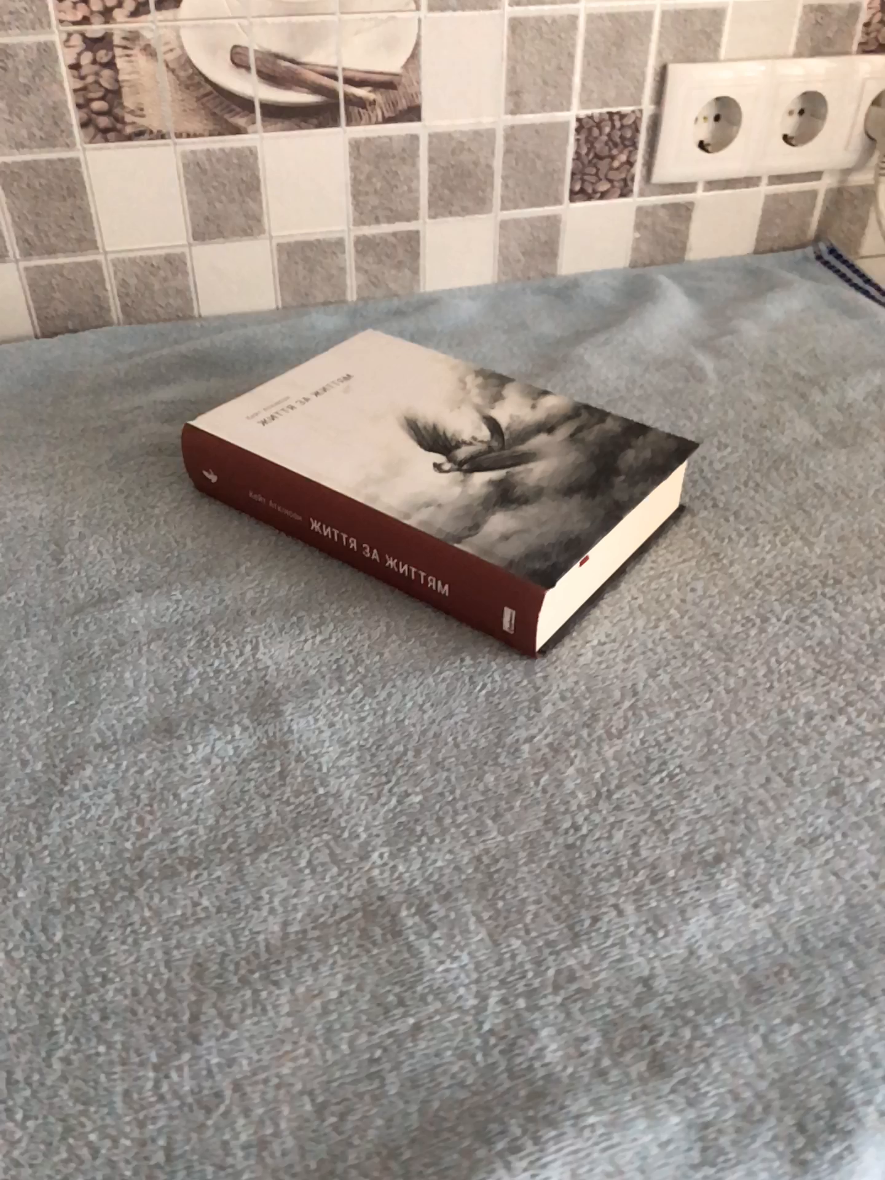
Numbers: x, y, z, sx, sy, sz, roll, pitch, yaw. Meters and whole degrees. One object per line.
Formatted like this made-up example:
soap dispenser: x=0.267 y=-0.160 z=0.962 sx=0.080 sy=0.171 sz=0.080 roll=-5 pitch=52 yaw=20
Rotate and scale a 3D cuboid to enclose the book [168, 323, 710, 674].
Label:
book: x=-0.002 y=-0.062 z=0.496 sx=0.220 sy=0.040 sz=0.156 roll=26 pitch=45 yaw=27
